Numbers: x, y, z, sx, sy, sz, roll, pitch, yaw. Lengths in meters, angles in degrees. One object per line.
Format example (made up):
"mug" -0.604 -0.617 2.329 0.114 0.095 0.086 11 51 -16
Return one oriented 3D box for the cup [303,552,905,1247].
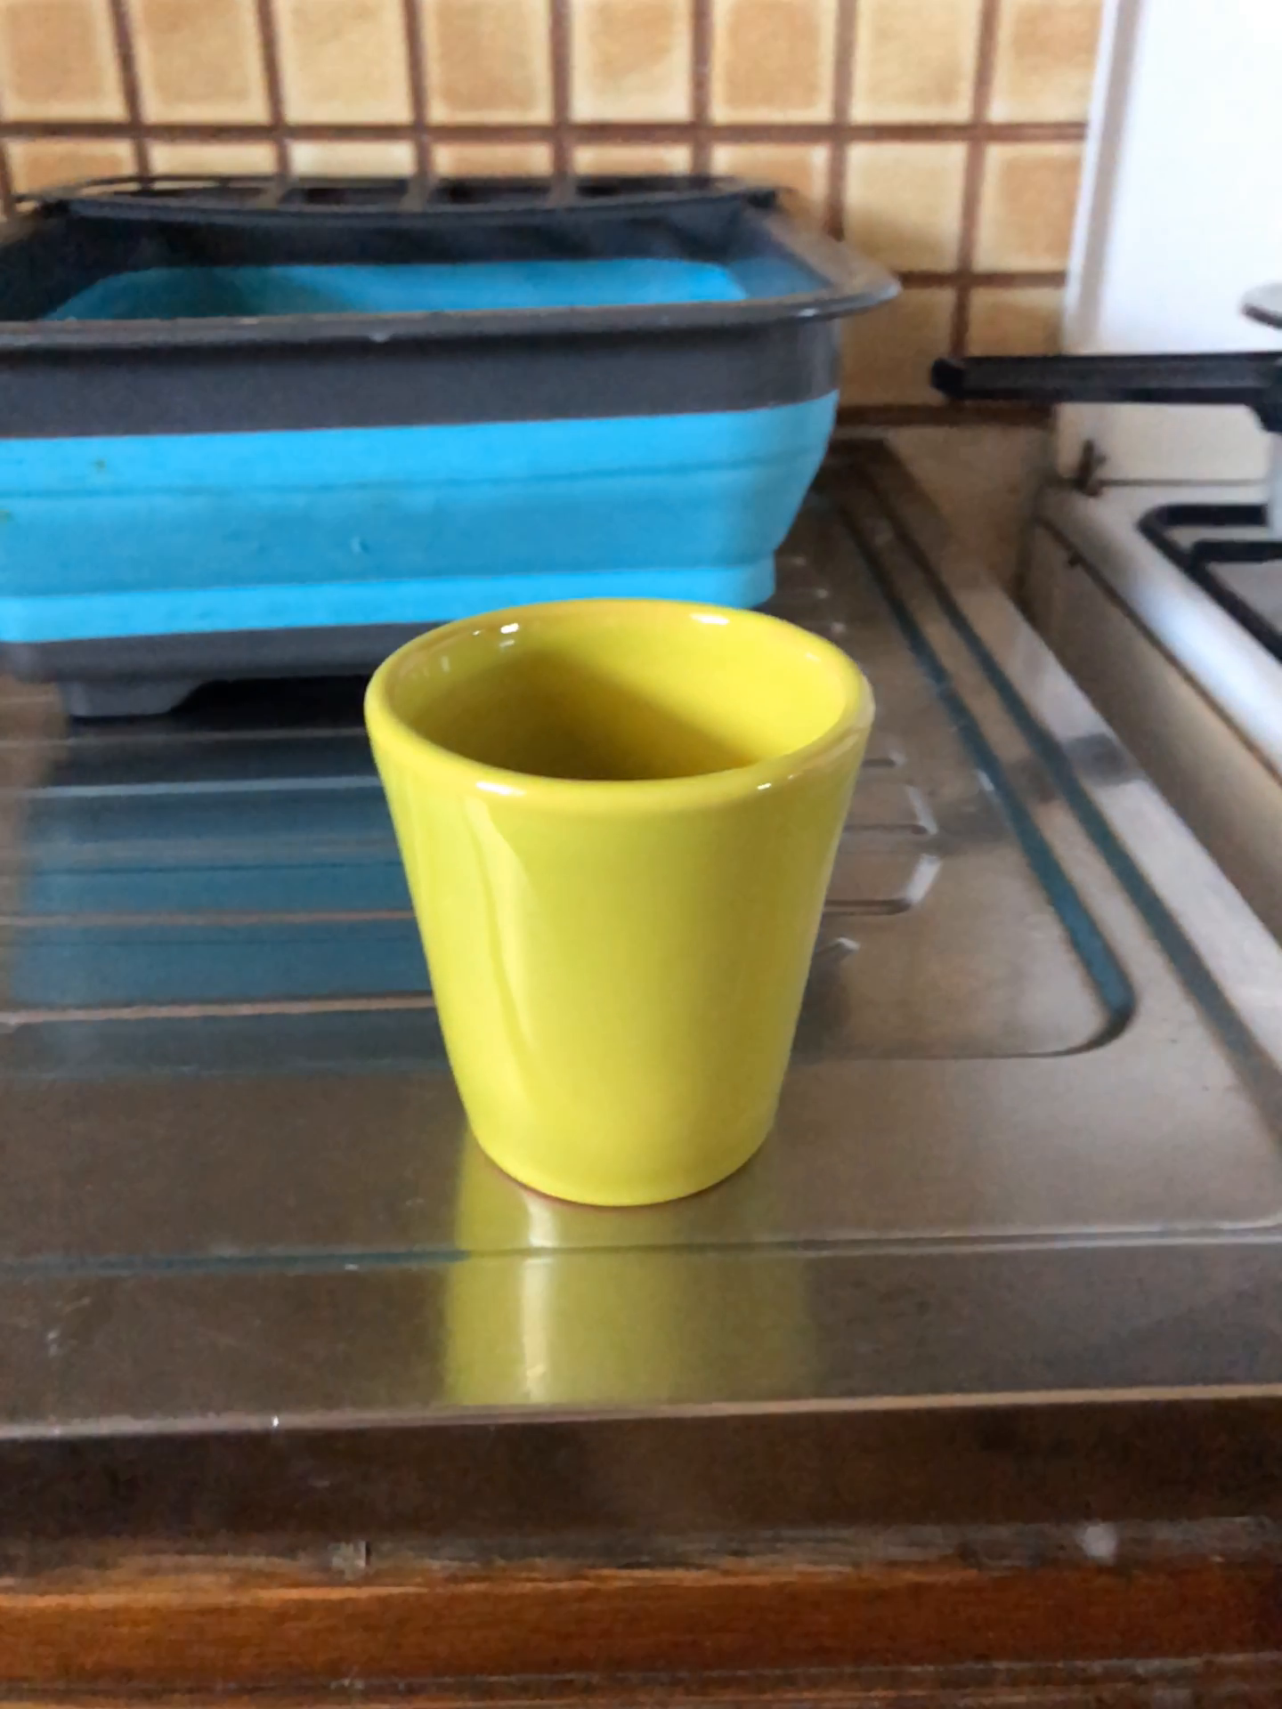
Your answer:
"cup" -0.004 0.004 0.246 0.080 0.089 0.080 0 29 0
